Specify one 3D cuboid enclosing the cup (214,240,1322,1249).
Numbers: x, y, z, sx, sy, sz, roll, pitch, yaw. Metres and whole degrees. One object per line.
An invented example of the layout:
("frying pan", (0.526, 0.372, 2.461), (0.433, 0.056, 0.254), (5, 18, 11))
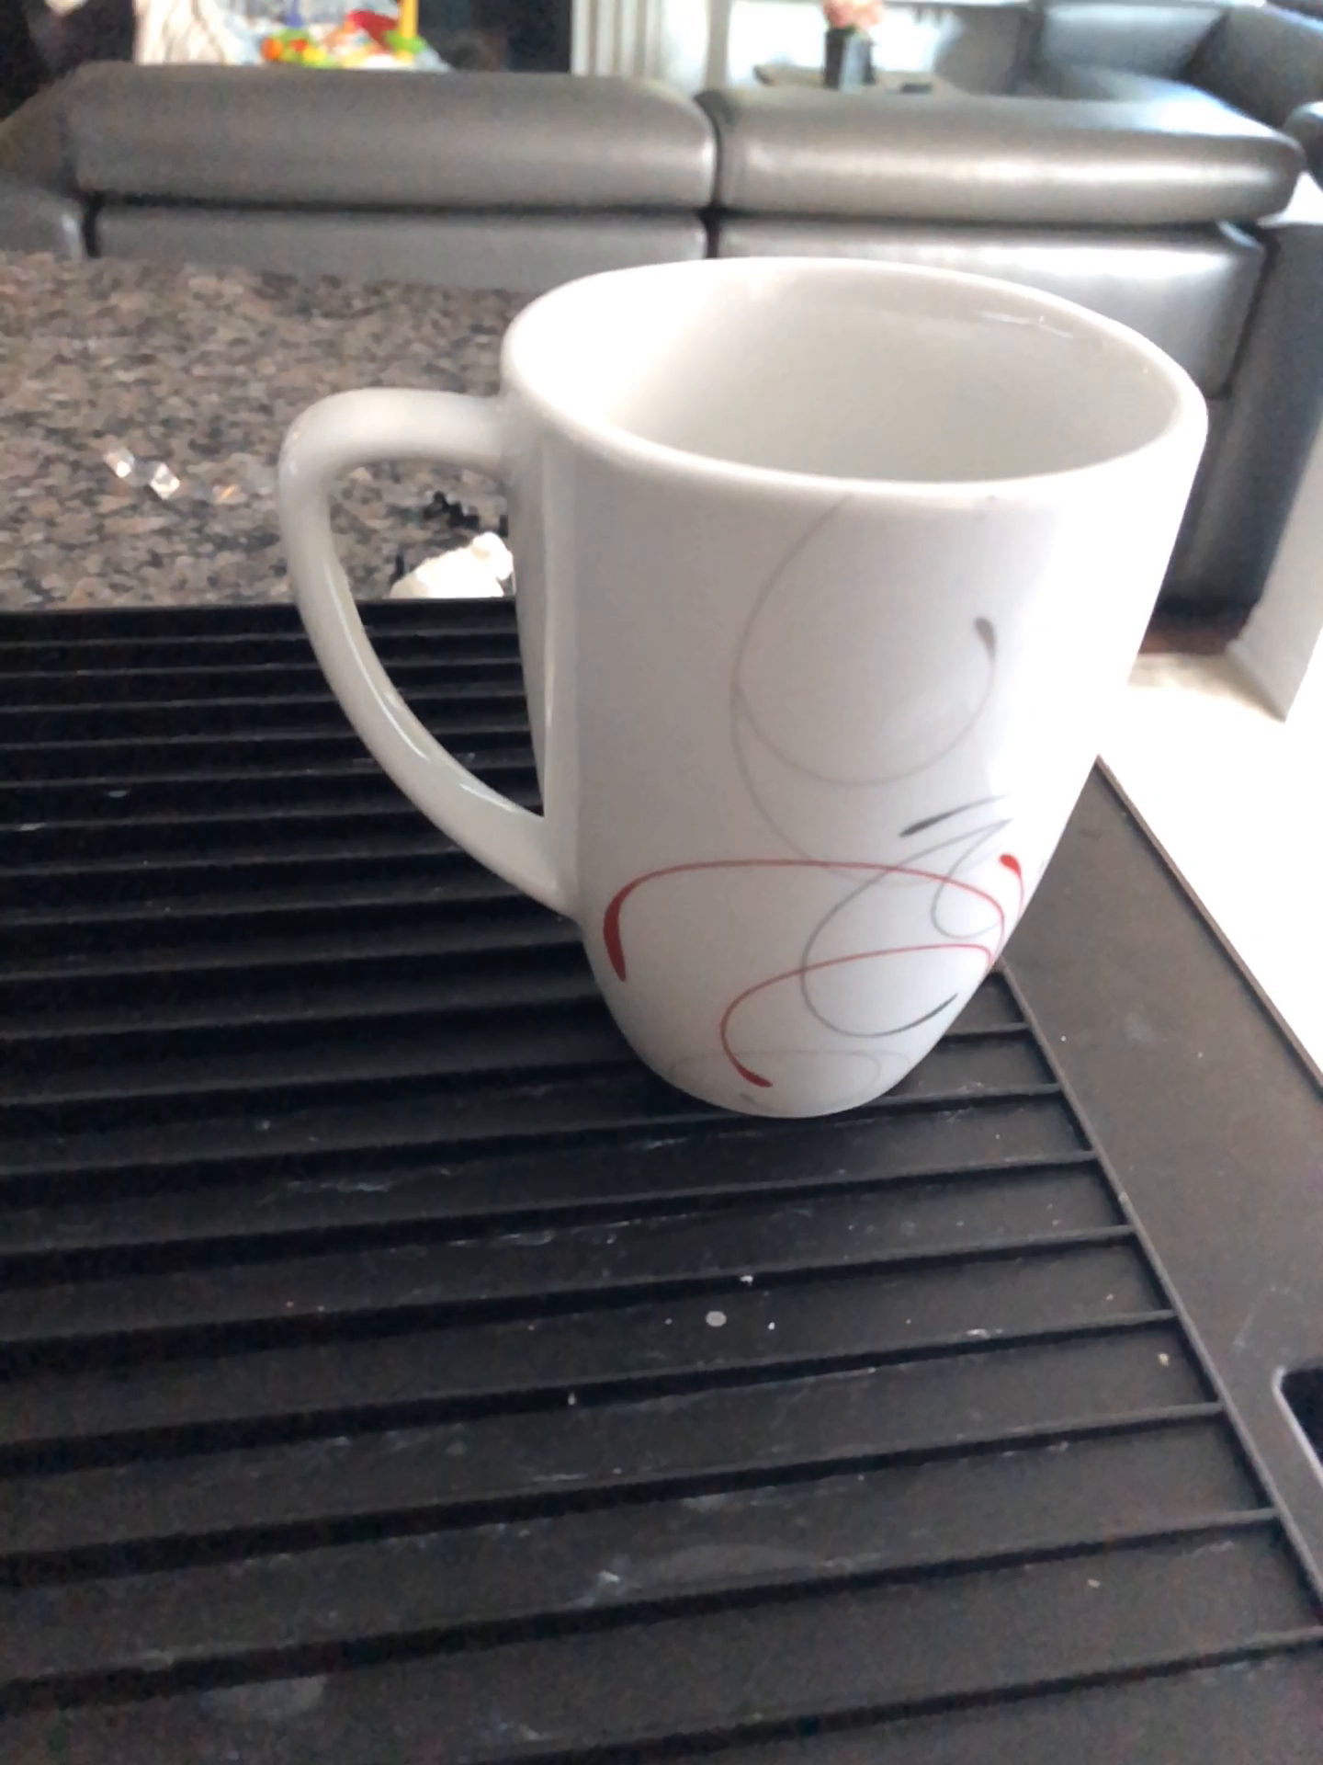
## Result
("cup", (0.006, -0.023, 0.209), (0.116, 0.105, 0.088), (-3, 37, -10))
